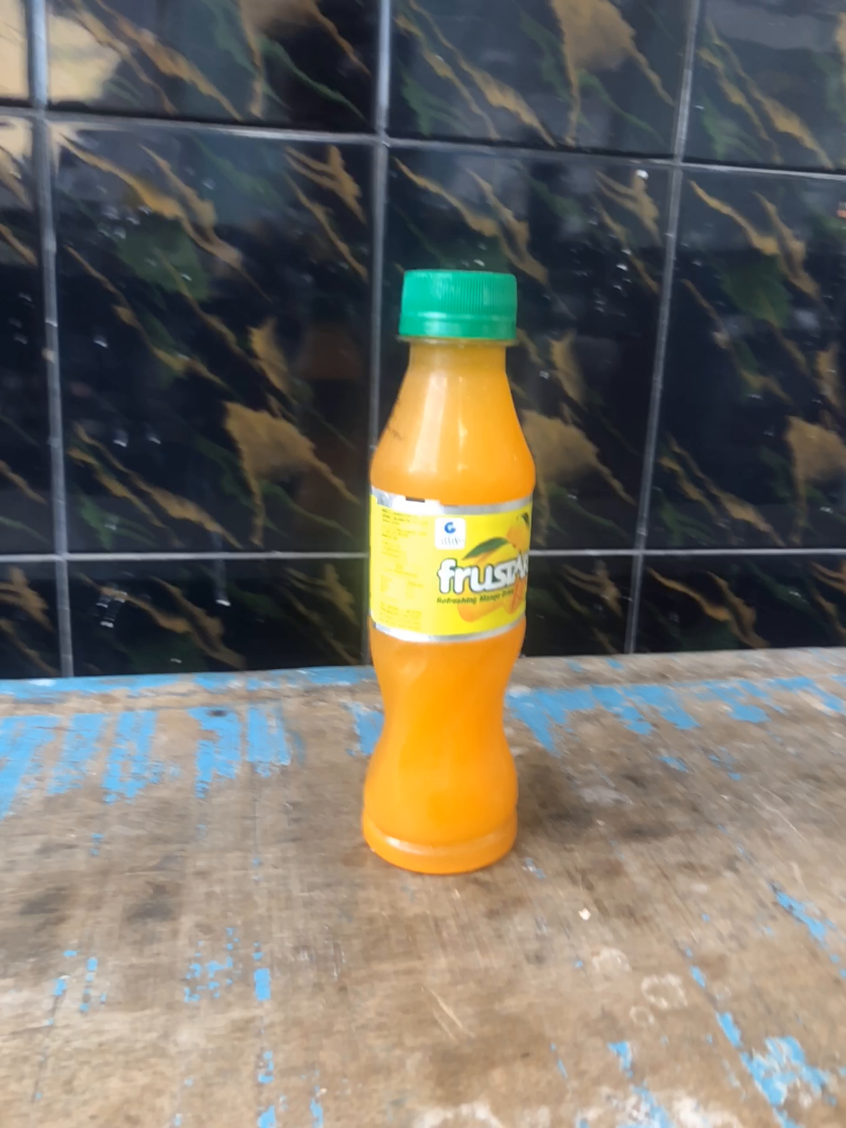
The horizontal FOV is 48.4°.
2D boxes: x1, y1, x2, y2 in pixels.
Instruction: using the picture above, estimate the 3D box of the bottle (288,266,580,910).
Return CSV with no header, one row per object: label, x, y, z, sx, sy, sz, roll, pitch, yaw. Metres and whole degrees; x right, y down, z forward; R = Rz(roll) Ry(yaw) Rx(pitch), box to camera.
bottle,0.000,0.004,0.274,0.060,0.169,0.050,-8,18,-34
